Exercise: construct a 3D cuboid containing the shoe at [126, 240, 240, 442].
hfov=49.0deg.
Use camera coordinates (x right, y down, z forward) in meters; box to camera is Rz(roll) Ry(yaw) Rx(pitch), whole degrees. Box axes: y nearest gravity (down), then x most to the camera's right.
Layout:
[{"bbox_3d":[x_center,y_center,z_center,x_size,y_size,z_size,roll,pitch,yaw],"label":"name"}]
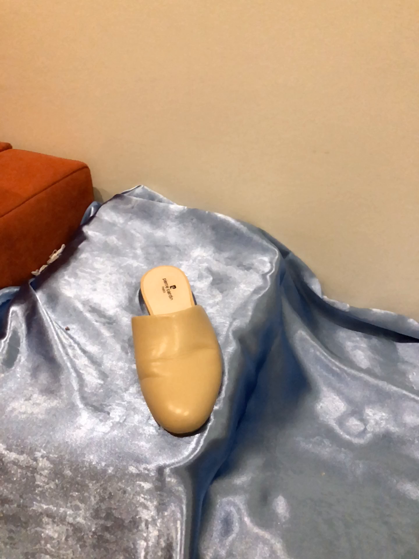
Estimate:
[{"bbox_3d":[-0.043,0.051,0.535,0.095,0.060,0.262,-3,37,-11],"label":"shoe"}]
